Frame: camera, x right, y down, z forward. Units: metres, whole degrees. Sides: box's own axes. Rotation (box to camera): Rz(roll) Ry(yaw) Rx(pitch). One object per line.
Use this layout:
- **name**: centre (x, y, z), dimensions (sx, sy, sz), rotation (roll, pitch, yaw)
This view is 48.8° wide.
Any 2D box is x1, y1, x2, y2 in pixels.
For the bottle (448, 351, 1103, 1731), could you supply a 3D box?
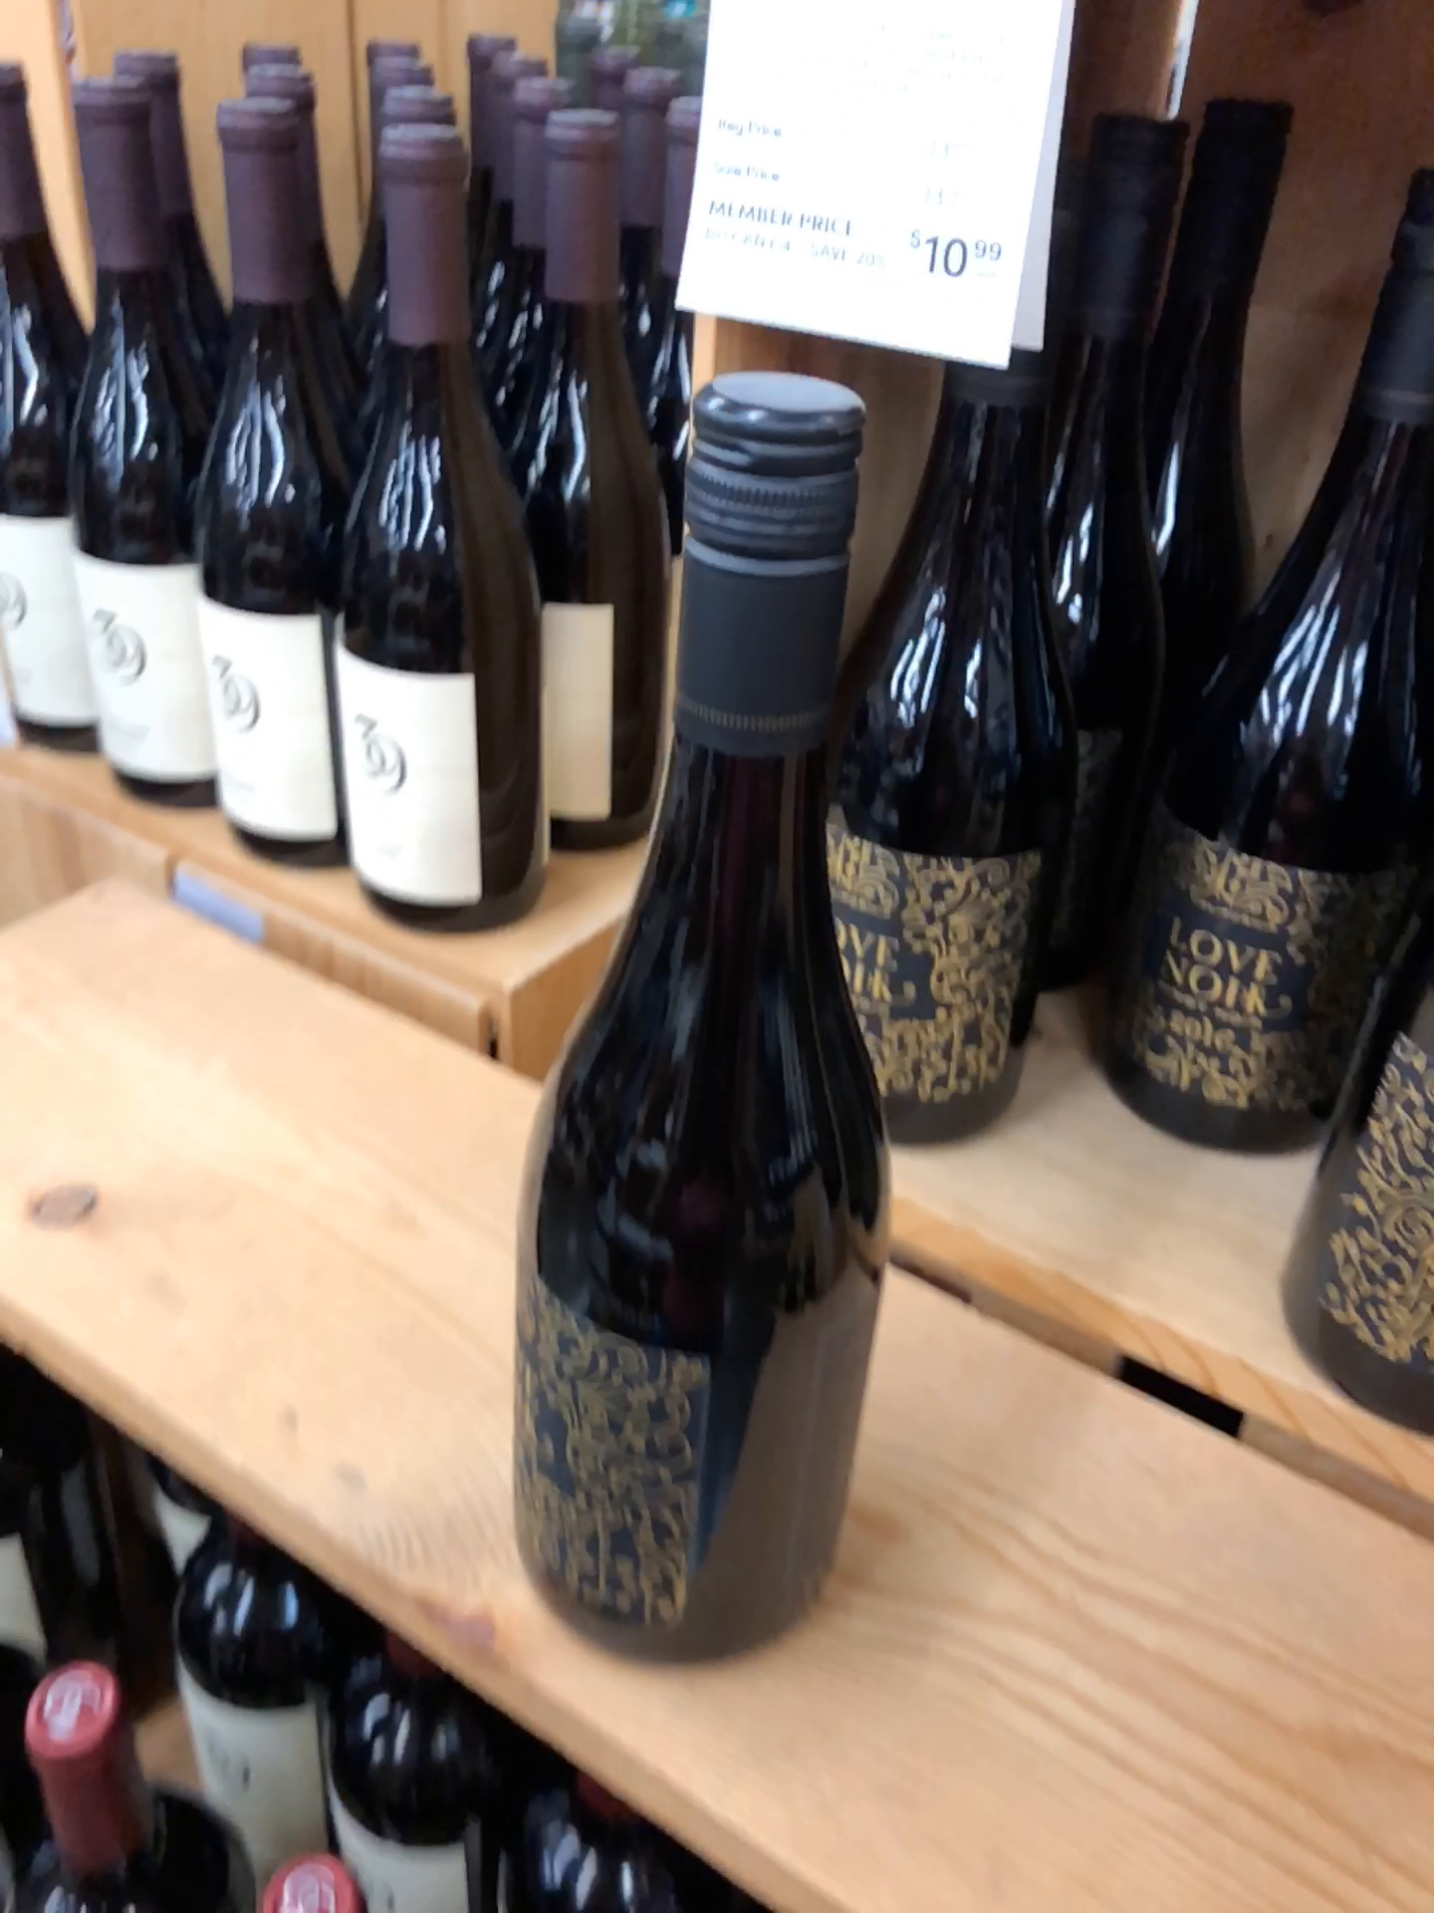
- **bottle**: centre (-0.004, 0.031, 0.335), dimensions (0.085, 0.284, 0.090), rotation (3, 33, -2)
